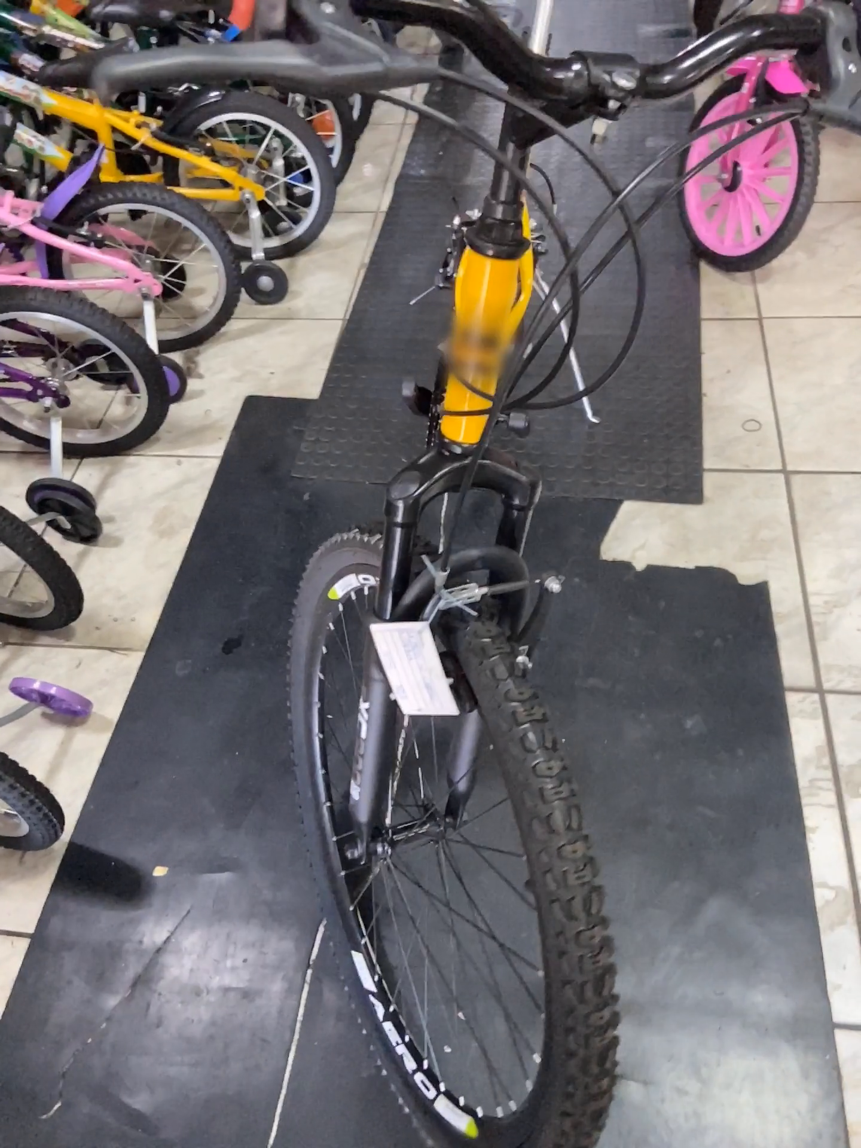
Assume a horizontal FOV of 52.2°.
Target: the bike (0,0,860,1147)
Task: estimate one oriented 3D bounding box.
[{"bbox_3d":[0.073,-0.313,0.936,0.475,0.987,1.528,-3,49,6],"label":"bike"}]
